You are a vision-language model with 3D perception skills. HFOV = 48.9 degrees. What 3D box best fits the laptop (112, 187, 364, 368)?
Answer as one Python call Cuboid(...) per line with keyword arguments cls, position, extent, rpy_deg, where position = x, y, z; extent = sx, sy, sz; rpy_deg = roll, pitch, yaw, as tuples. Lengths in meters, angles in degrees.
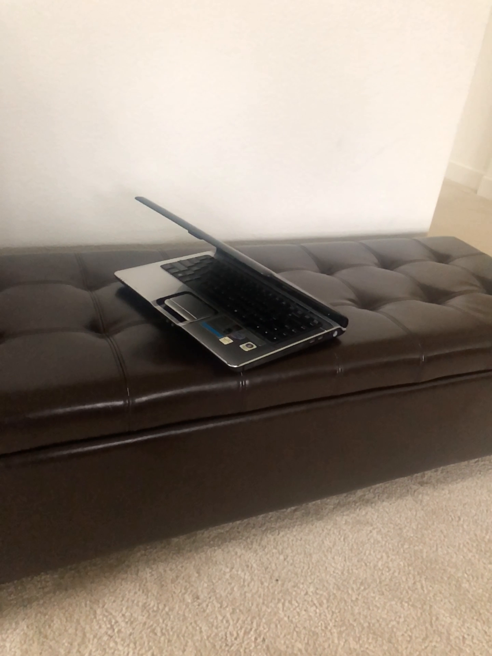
Cuboid(cls="laptop", position=(-0.028, -0.104, 0.844), extent=(0.230, 0.122, 0.333), rpy_deg=(-17, 37, -37))
